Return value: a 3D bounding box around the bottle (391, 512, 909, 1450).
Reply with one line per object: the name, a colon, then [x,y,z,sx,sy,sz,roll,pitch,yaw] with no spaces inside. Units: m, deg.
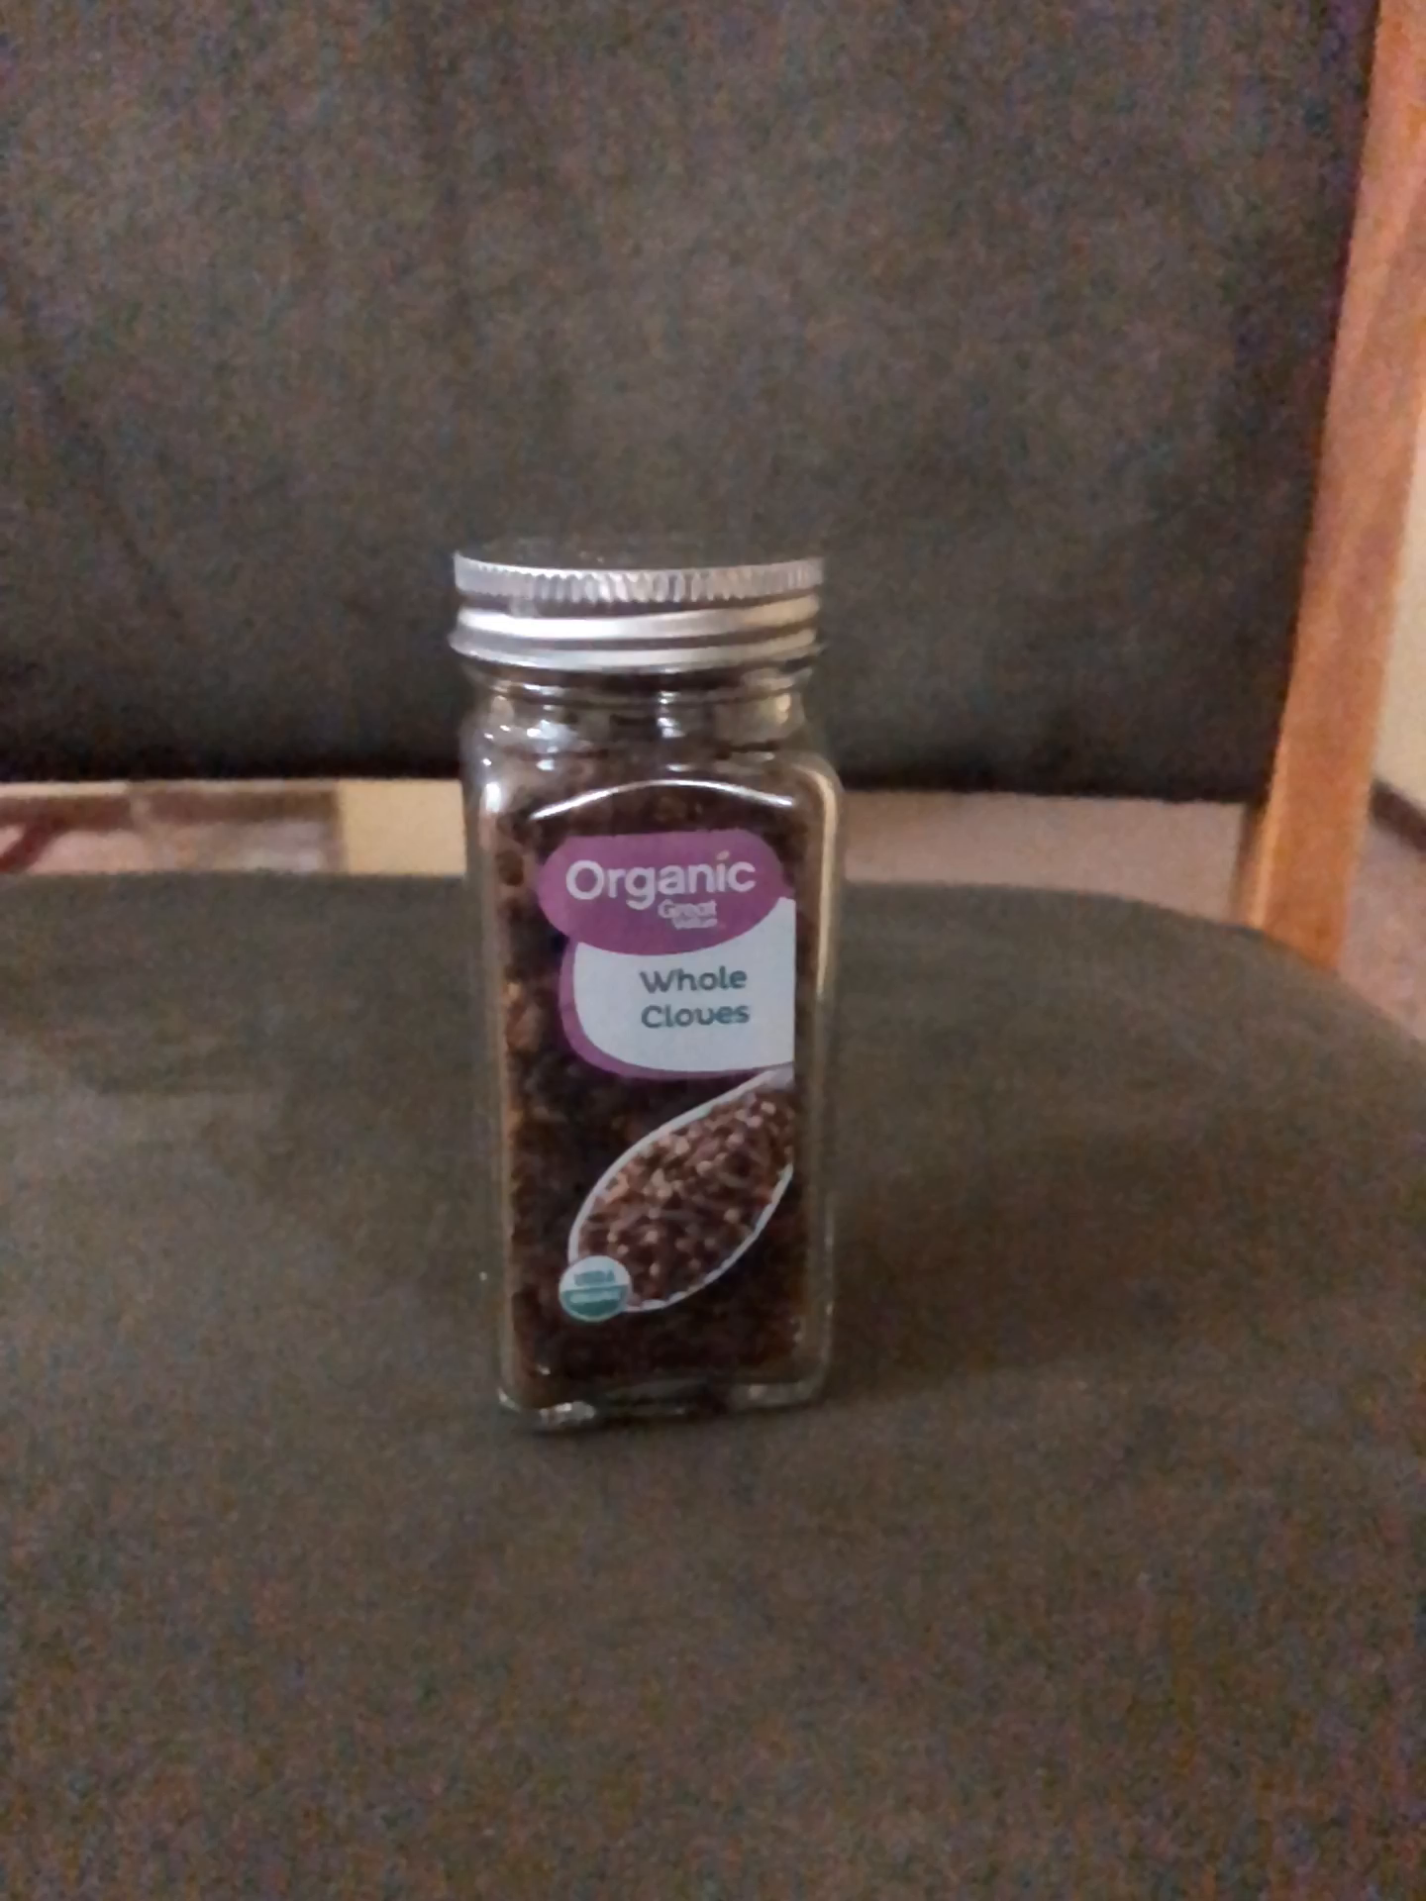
bottle: [-0.008,0.001,0.195,0.050,0.100,0.050,-1,20,0]
